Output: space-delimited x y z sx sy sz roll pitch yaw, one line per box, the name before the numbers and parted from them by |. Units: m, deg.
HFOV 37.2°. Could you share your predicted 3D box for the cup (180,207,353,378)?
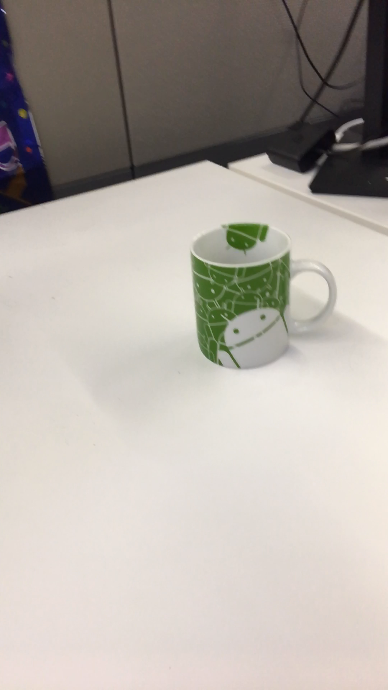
cup | 0.053 -0.044 0.458 0.110 0.090 0.090 -8 34 -5
